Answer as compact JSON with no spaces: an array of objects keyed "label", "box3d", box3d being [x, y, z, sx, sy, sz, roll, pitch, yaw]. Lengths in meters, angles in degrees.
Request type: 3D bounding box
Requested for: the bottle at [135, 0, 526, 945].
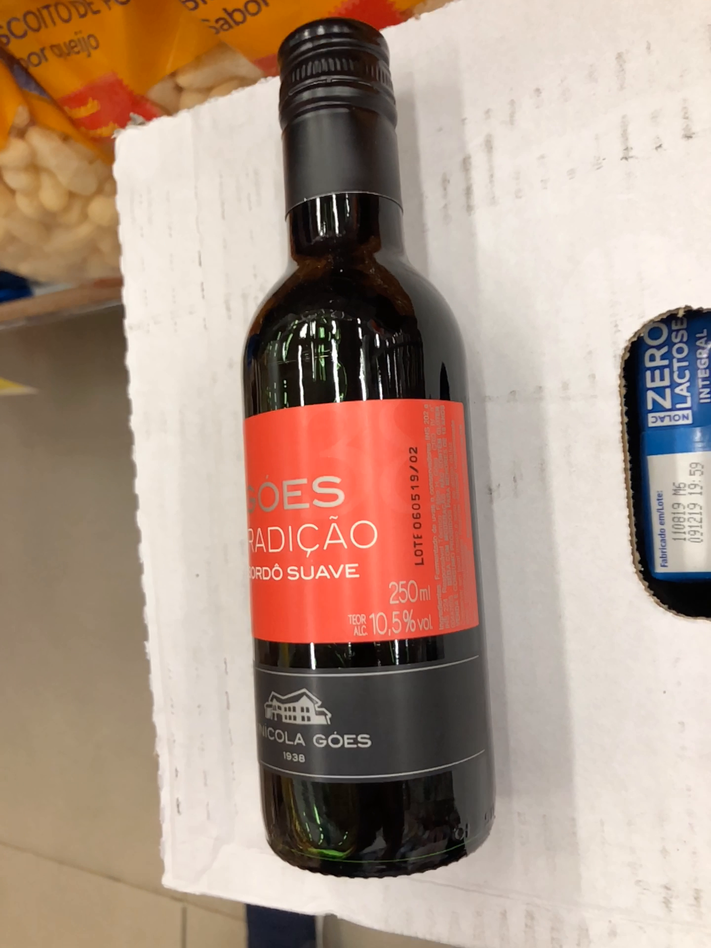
[{"label":"bottle","box3d":[-0.006,-0.018,0.185,0.060,0.050,0.210,-6,85,30]}]
